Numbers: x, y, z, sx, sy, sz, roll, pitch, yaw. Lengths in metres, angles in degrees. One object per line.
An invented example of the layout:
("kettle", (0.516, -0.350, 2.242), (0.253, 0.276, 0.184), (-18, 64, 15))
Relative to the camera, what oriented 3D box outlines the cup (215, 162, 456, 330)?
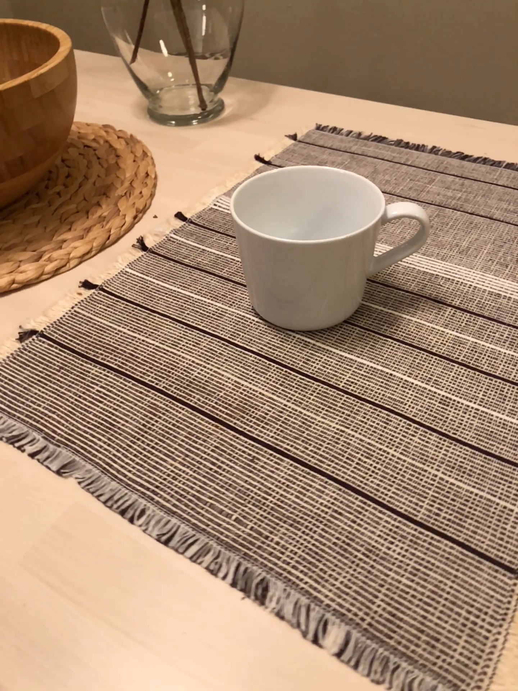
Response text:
("cup", (0.048, -0.070, 0.395), (0.140, 0.070, 0.101), (0, 42, 4))
